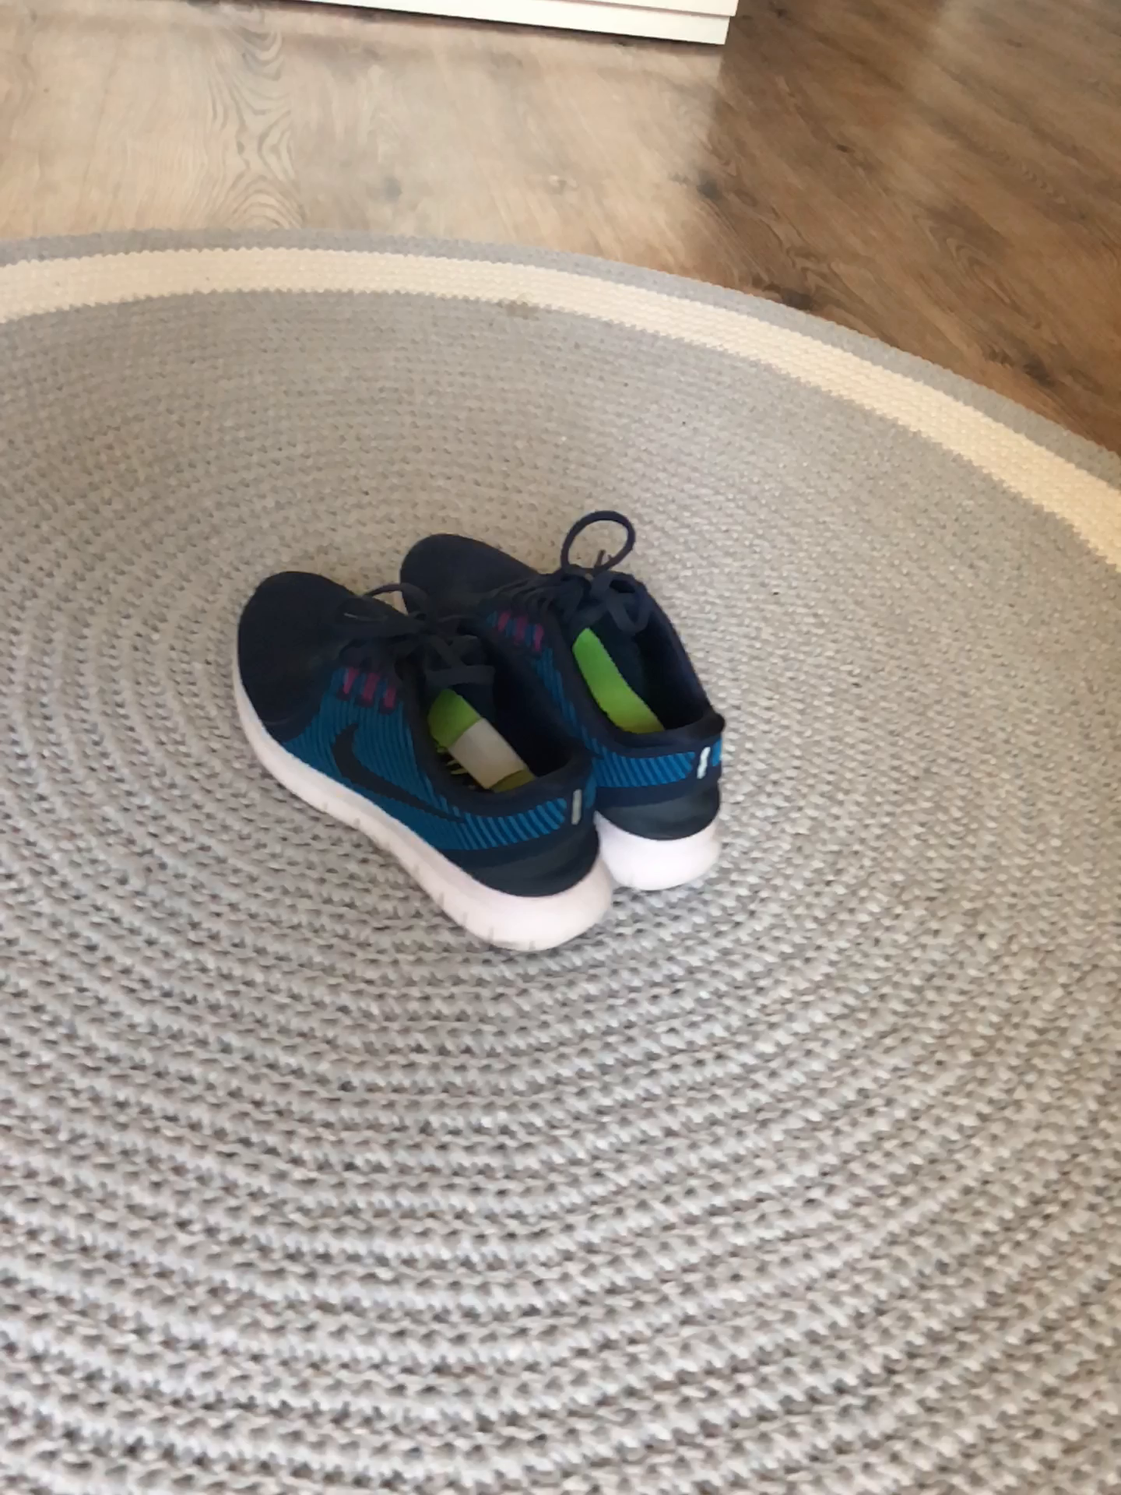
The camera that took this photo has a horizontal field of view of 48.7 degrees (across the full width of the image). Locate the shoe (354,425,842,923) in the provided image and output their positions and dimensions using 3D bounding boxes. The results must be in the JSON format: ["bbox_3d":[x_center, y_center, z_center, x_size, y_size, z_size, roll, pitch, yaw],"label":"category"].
[{"bbox_3d":[0.002,-0.052,0.606,0.100,0.080,0.271,-17,48,-28],"label":"shoe"}]

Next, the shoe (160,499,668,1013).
[{"bbox_3d":[-0.077,-0.009,0.568,0.100,0.080,0.244,-24,52,-33],"label":"shoe"}]
